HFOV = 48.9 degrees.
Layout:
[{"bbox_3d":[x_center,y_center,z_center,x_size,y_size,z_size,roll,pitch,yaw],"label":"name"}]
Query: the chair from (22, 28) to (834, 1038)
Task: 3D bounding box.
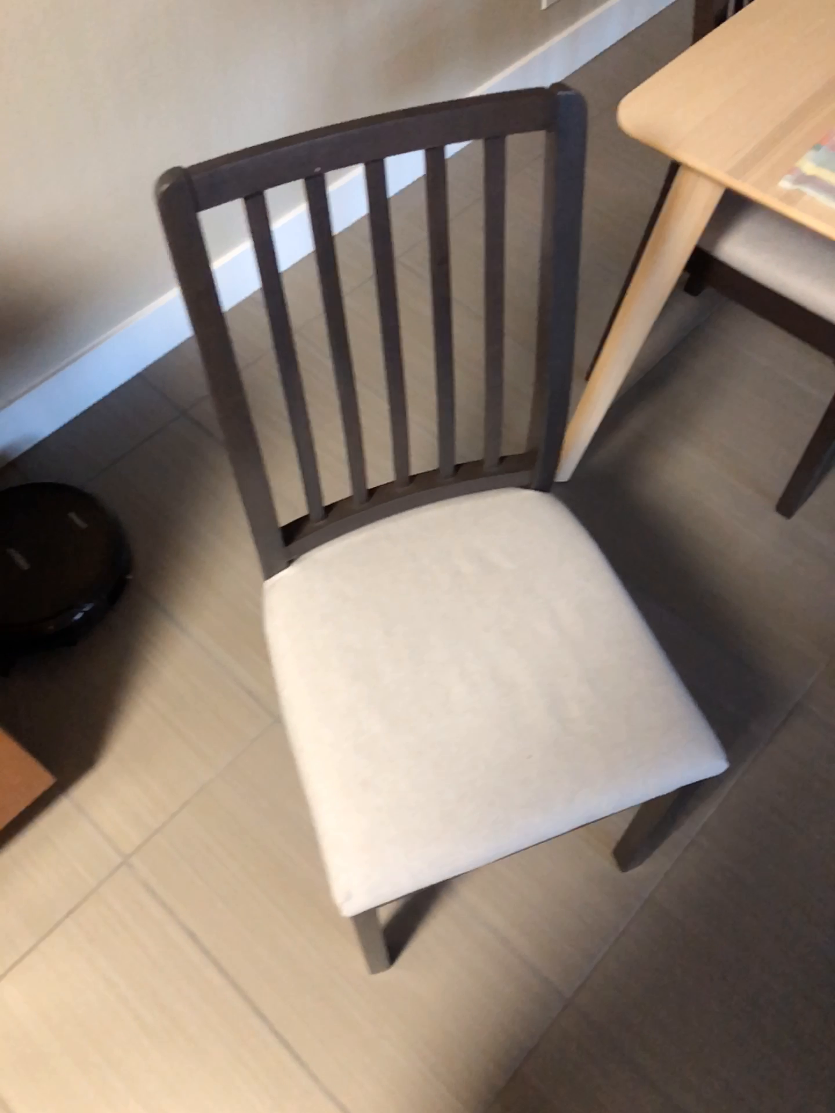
[{"bbox_3d":[0.060,0.060,1.002,0.580,0.848,0.591,-18,59,-11],"label":"chair"}]
